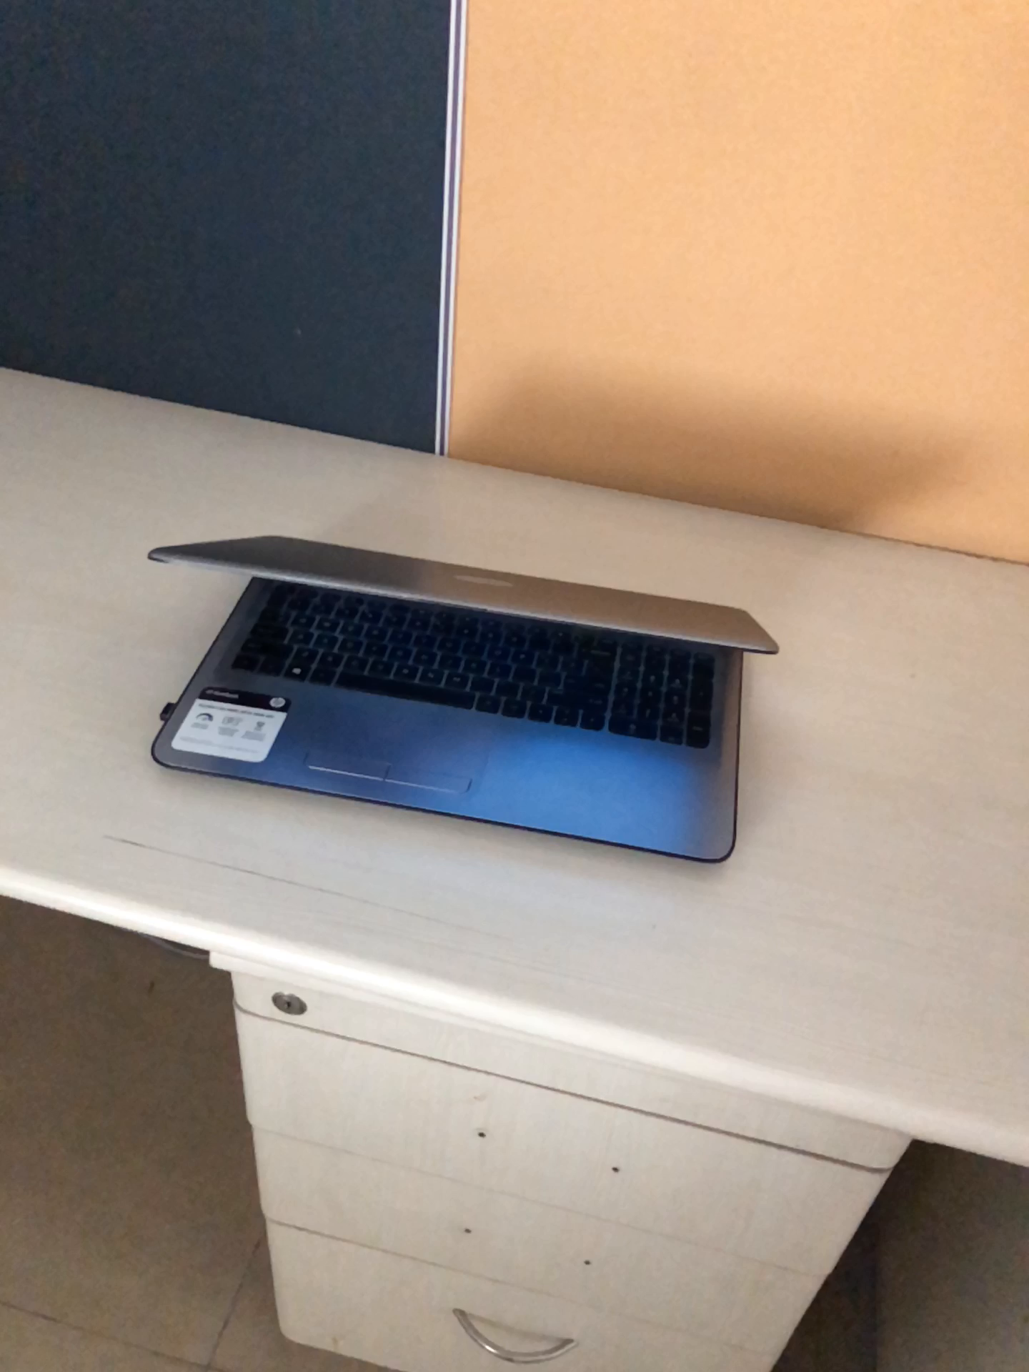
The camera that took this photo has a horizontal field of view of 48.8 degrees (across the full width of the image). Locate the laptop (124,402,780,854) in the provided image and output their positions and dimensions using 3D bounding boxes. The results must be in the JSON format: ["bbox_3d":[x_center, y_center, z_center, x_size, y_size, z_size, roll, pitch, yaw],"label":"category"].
[{"bbox_3d":[-0.022,-0.051,0.755,0.363,0.132,0.239,10,40,5],"label":"laptop"}]
